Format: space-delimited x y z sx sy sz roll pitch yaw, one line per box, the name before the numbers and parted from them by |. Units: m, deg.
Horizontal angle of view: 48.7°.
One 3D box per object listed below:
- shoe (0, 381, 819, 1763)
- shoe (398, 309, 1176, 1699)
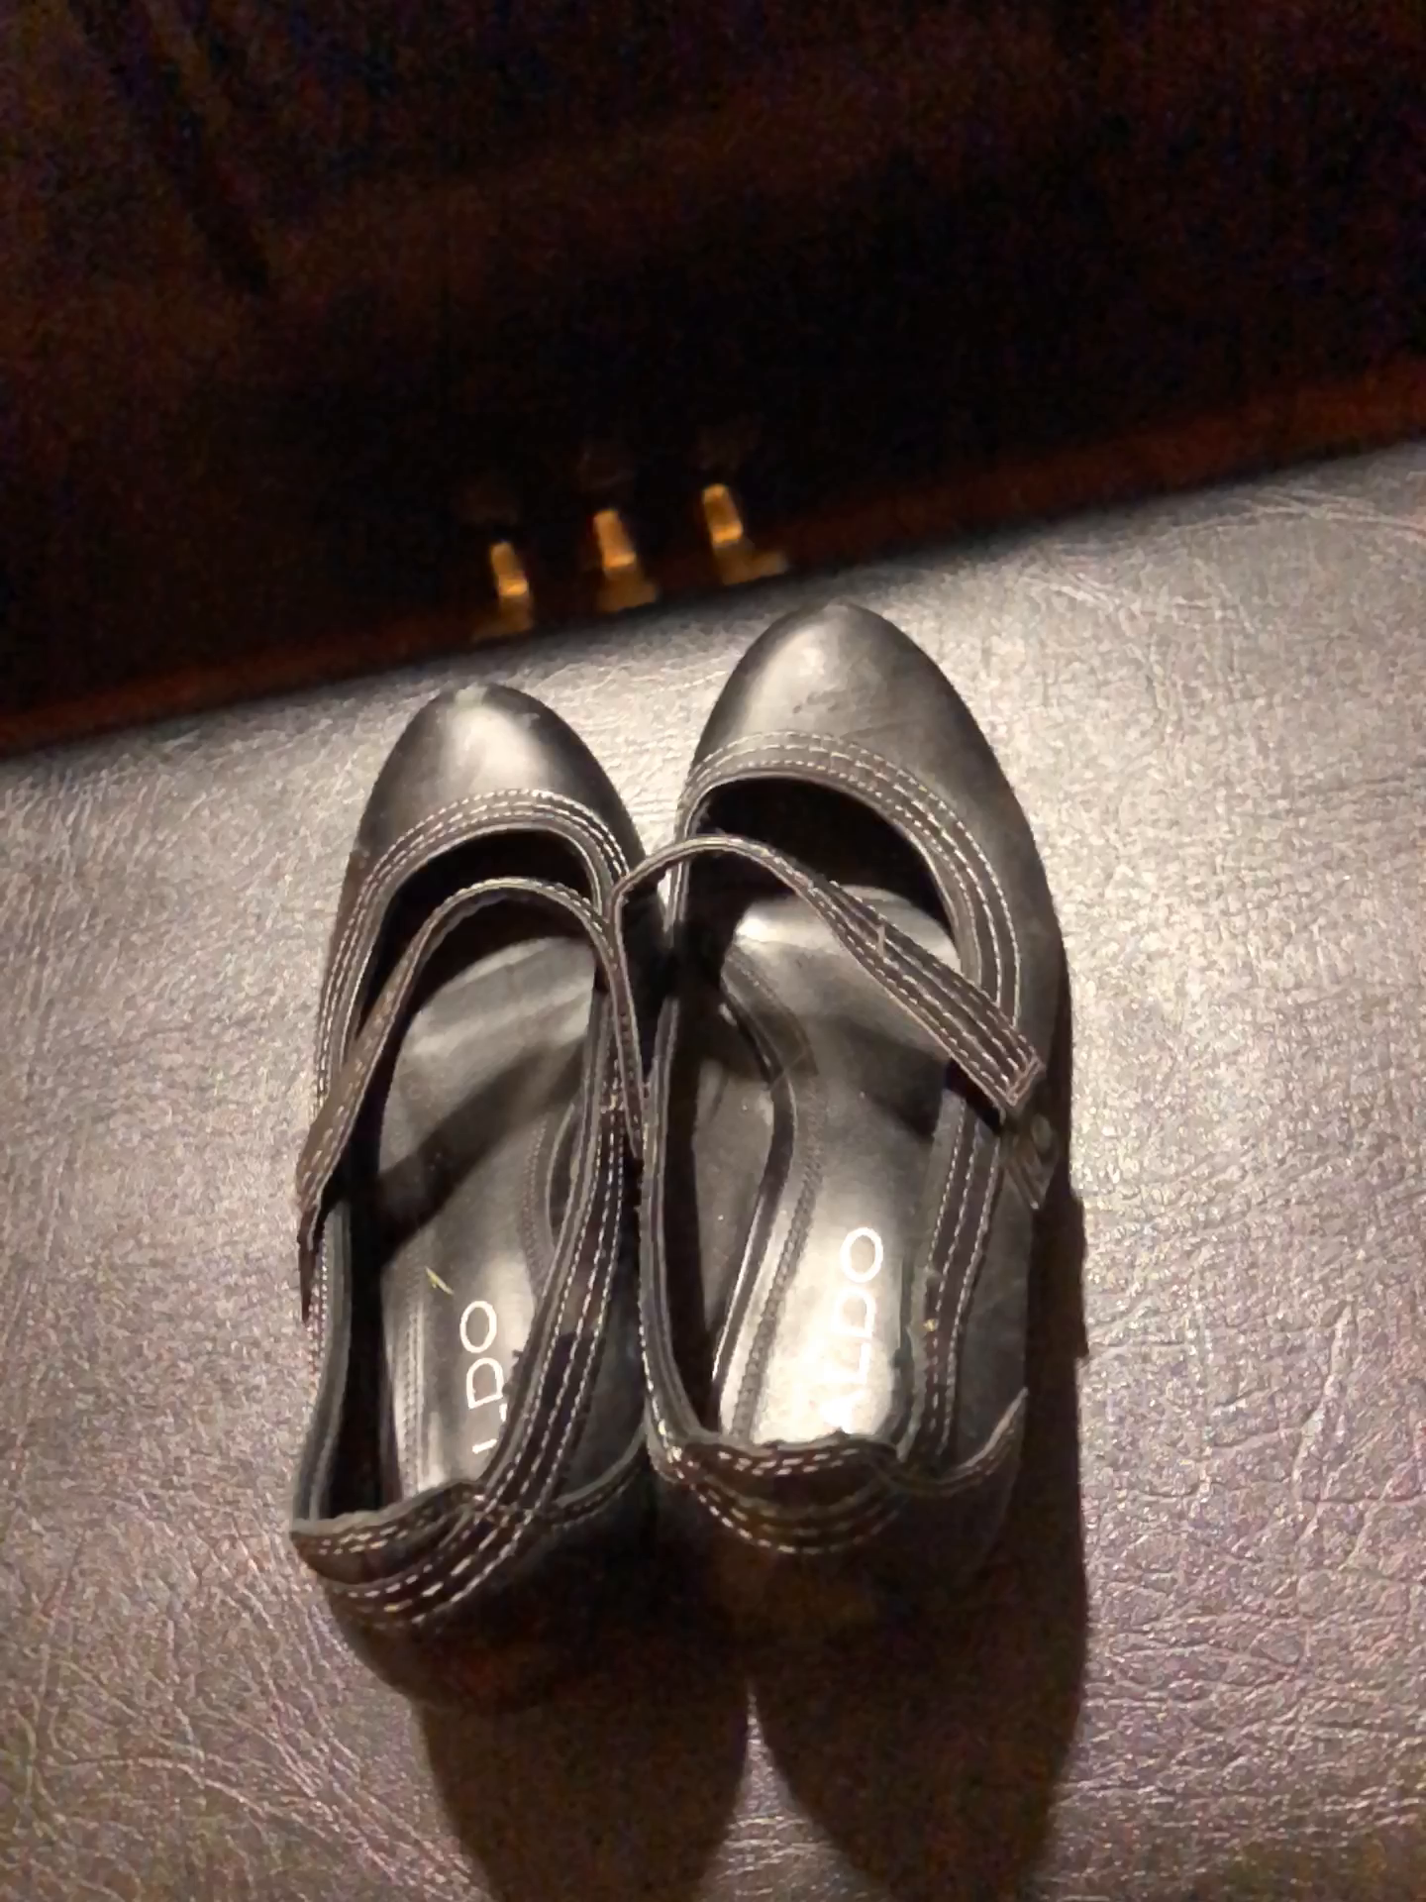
shoe | -0.056 0.020 0.319 0.100 0.110 0.241 -13 58 5
shoe | 0.020 0.008 0.307 0.100 0.110 0.241 -5 60 10
